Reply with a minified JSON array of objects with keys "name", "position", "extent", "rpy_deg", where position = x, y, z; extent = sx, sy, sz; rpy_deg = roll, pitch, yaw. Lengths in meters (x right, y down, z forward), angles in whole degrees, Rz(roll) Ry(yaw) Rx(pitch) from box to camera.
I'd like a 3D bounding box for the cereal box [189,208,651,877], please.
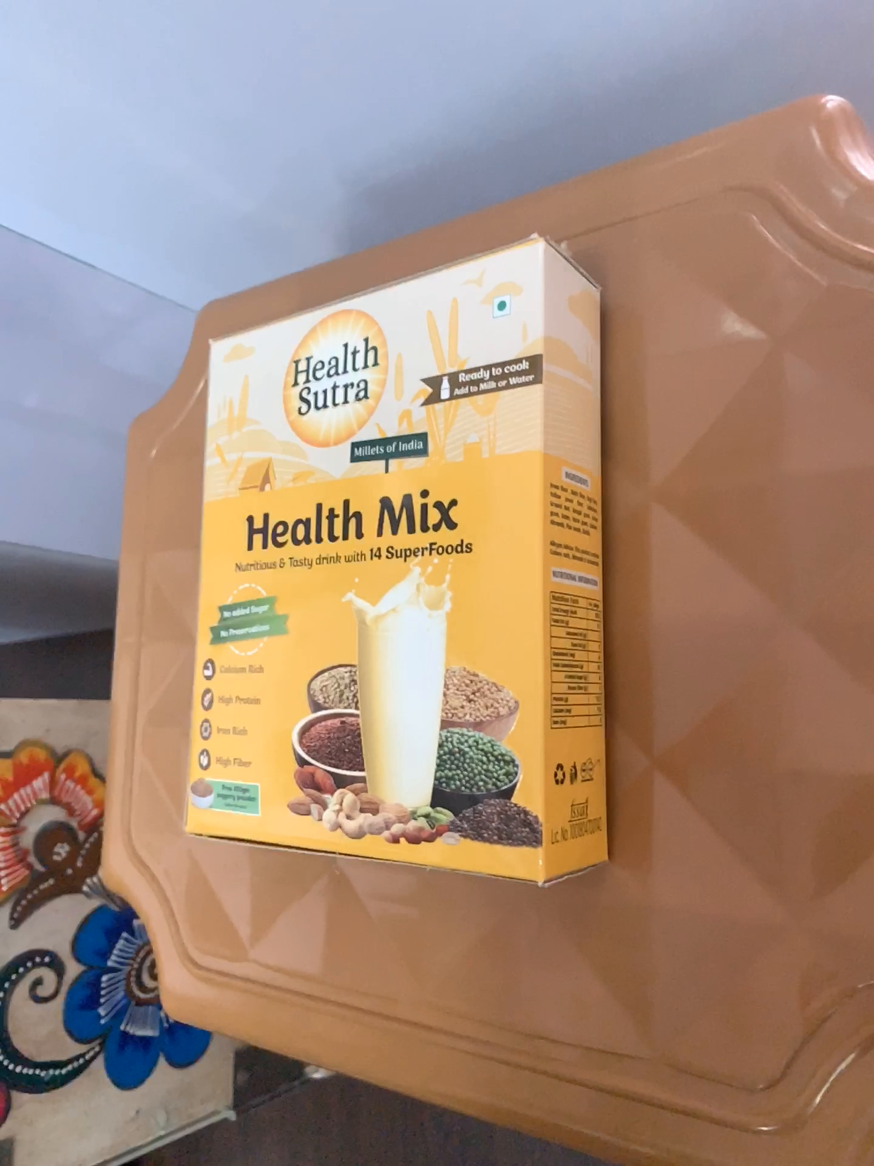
[{"name":"cereal box","position":[-0.008,-0.007,0.266],"extent":[0.131,0.040,0.160],"rpy_deg":[-4,81,34]}]
